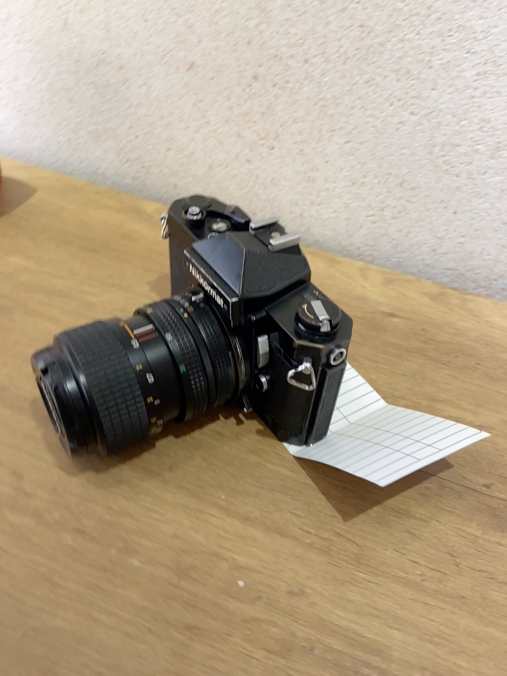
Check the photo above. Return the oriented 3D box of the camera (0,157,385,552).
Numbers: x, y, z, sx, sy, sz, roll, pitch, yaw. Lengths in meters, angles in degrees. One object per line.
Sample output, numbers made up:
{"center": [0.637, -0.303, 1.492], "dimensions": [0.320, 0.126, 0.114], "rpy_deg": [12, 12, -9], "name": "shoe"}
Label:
{"center": [-0.048, -0.011, 0.274], "dimensions": [0.140, 0.089, 0.161], "rpy_deg": [-18, 46, -25], "name": "camera"}
